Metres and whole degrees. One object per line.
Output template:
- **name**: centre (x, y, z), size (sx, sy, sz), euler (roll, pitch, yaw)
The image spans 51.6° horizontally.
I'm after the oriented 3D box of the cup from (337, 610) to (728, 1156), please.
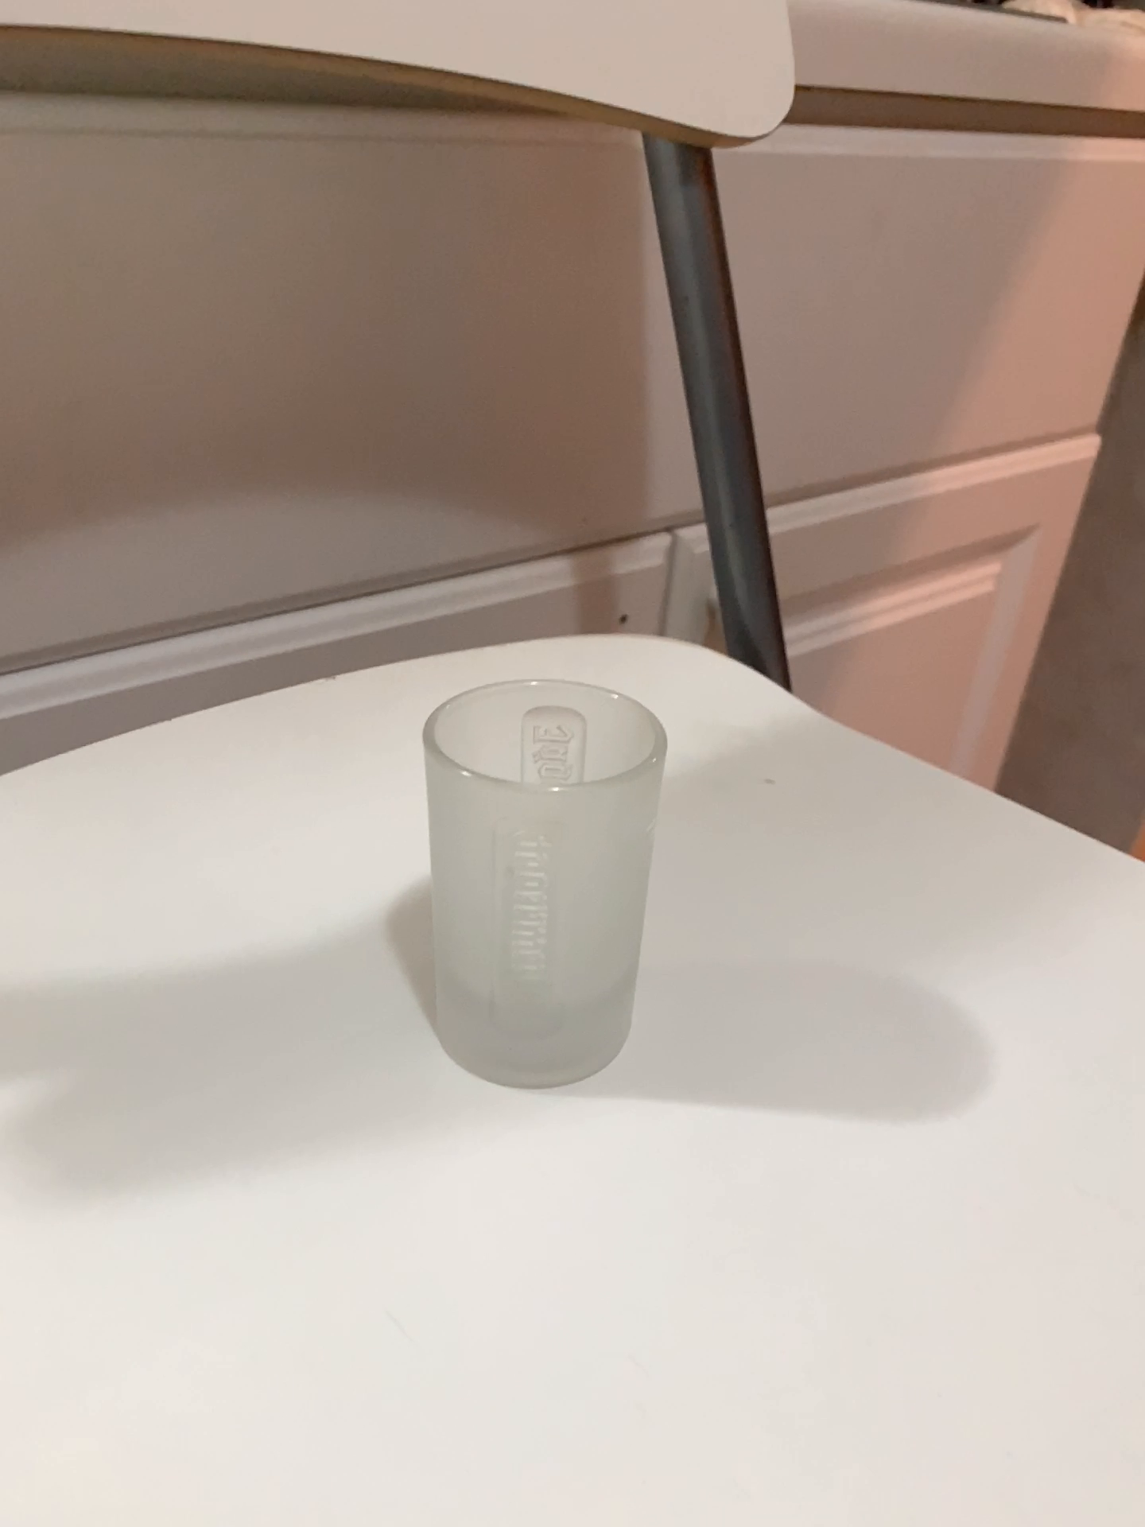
- **cup**: centre (-0.009, 0.020, 0.215), size (0.049, 0.075, 0.042), euler (-21, 39, -37)
